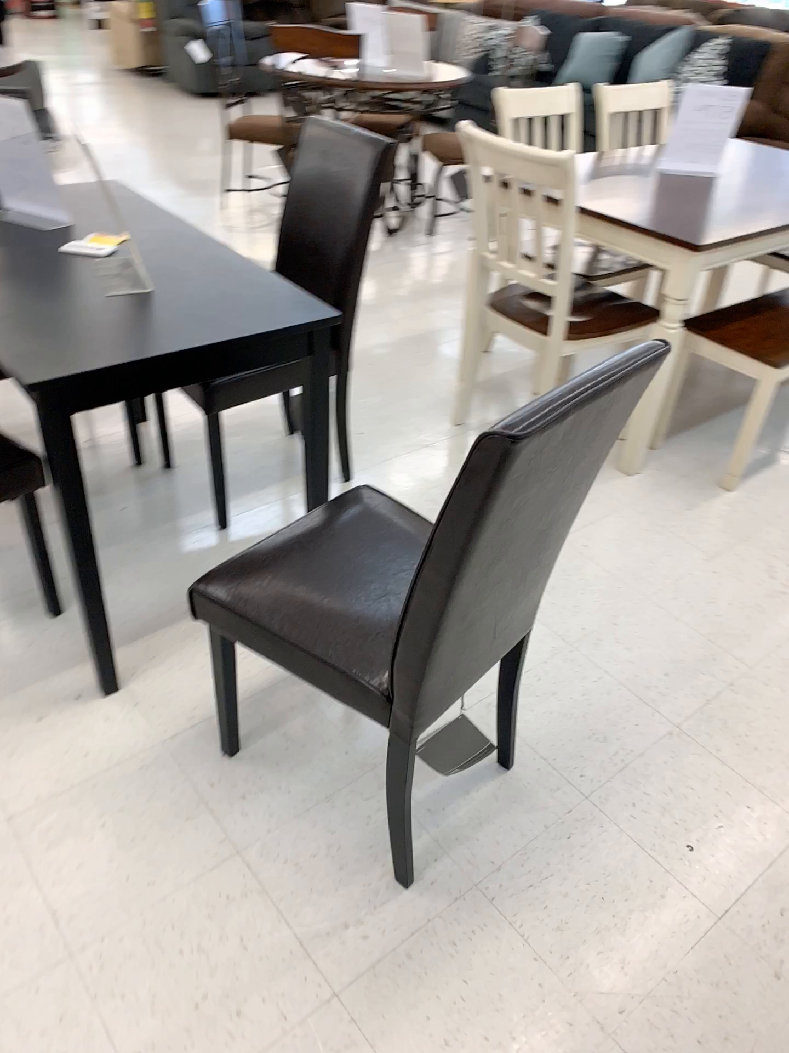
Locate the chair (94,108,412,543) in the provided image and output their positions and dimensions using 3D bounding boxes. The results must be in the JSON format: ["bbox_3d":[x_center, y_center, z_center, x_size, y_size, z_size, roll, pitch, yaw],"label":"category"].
[{"bbox_3d":[-0.349,-0.535,2.127,0.595,0.930,0.415,-25,45,-34],"label":"chair"}]

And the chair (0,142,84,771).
[{"bbox_3d":[-1.039,-0.139,1.507,0.415,0.930,0.596,25,41,26],"label":"chair"}]

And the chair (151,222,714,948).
[{"bbox_3d":[0.013,0.091,1.310,0.595,0.930,0.425,29,42,30],"label":"chair"}]

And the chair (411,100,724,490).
[{"bbox_3d":[0.489,-0.723,2.474,0.665,0.950,0.465,-25,46,-35],"label":"chair"}]
